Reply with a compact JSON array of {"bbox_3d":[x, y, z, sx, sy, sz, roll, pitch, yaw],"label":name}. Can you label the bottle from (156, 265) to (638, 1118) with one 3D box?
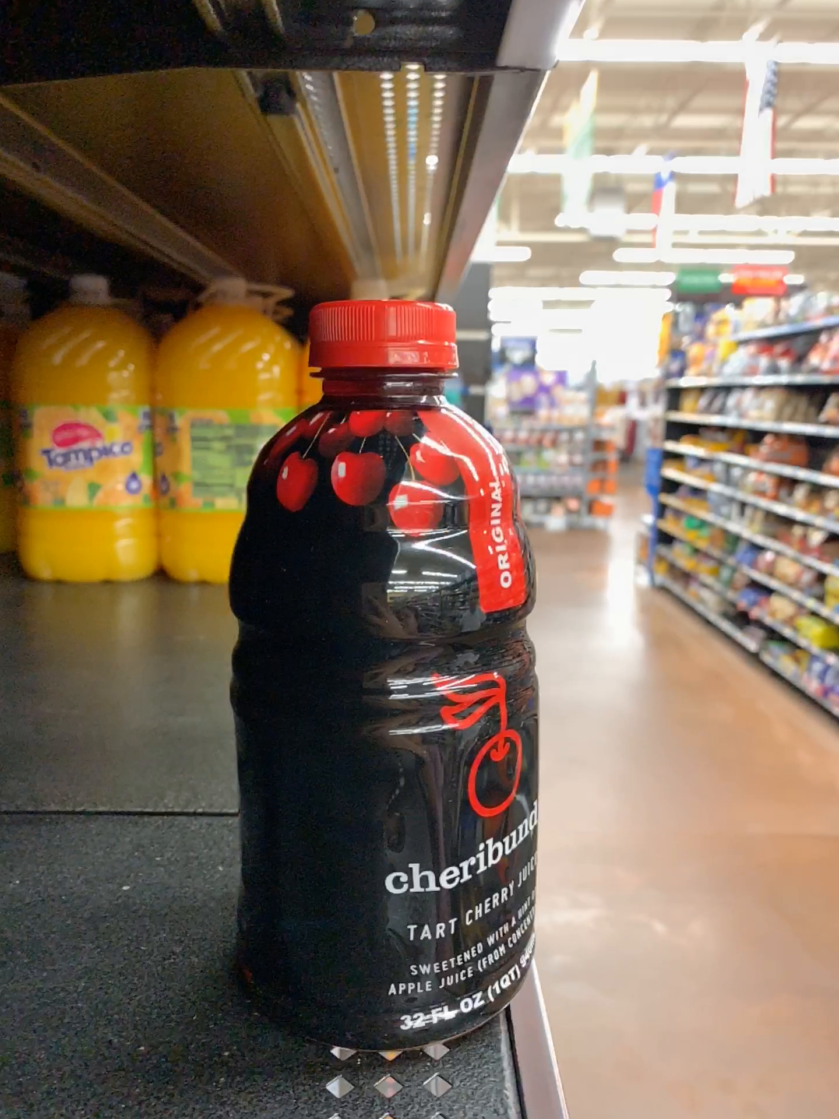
[{"bbox_3d":[-0.008,0.030,0.256,0.090,0.205,0.095,1,10,0],"label":"bottle"}]
